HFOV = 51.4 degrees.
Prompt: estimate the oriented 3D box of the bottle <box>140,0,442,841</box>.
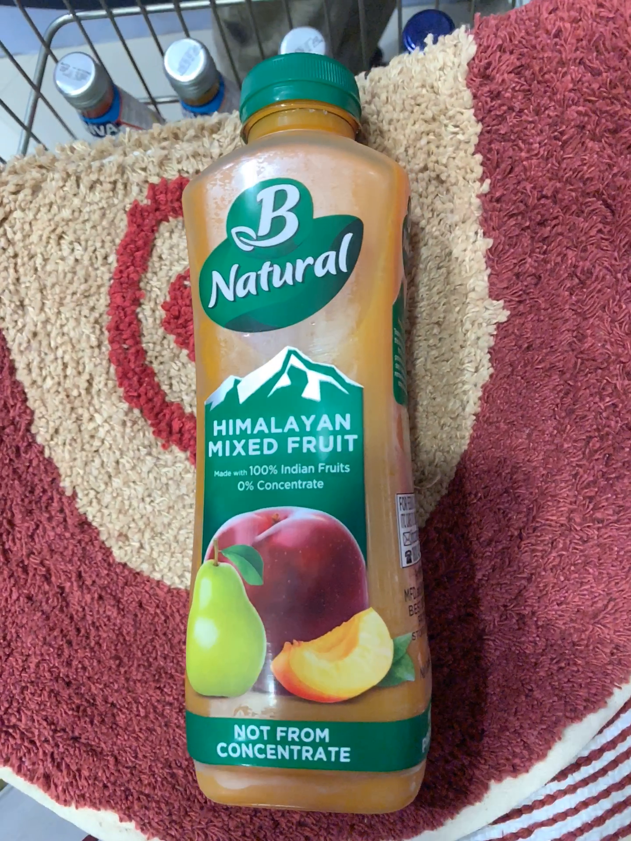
[{"bbox_3d":[-0.001,-0.011,0.202,0.070,0.070,0.230,-2,80,9],"label":"bottle"}]
